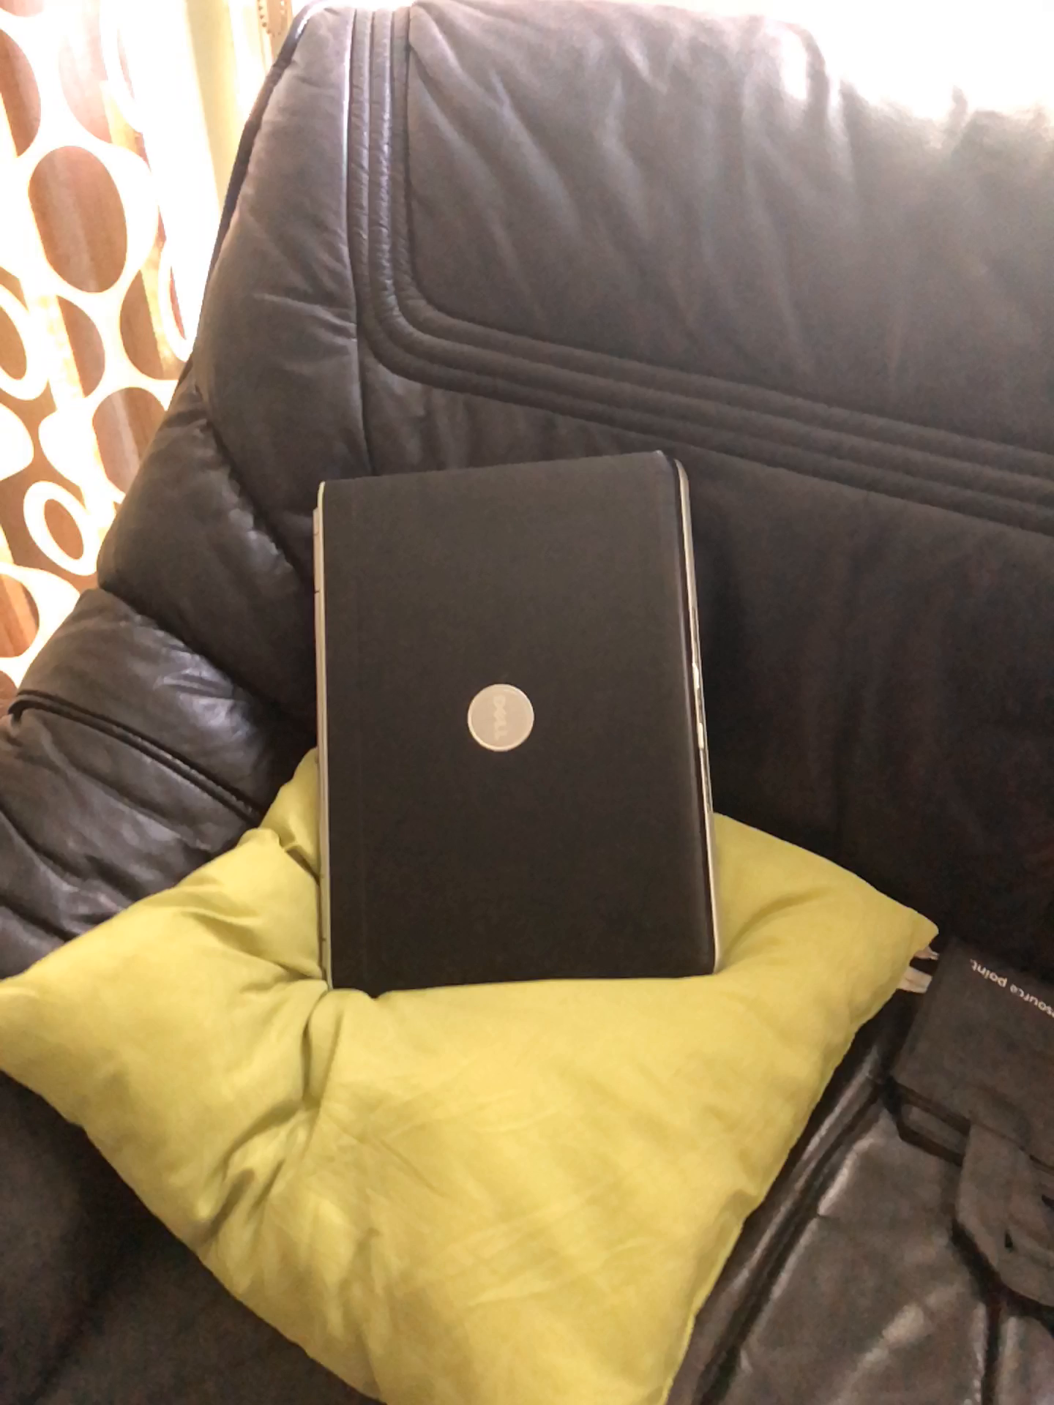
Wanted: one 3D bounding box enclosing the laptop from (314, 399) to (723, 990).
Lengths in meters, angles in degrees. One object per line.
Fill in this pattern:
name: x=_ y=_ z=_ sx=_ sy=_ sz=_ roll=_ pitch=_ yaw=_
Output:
laptop: x=-0.014 y=-0.005 z=0.754 sx=0.247 sy=0.033 sz=0.345 roll=-4 pitch=79 yaw=7
